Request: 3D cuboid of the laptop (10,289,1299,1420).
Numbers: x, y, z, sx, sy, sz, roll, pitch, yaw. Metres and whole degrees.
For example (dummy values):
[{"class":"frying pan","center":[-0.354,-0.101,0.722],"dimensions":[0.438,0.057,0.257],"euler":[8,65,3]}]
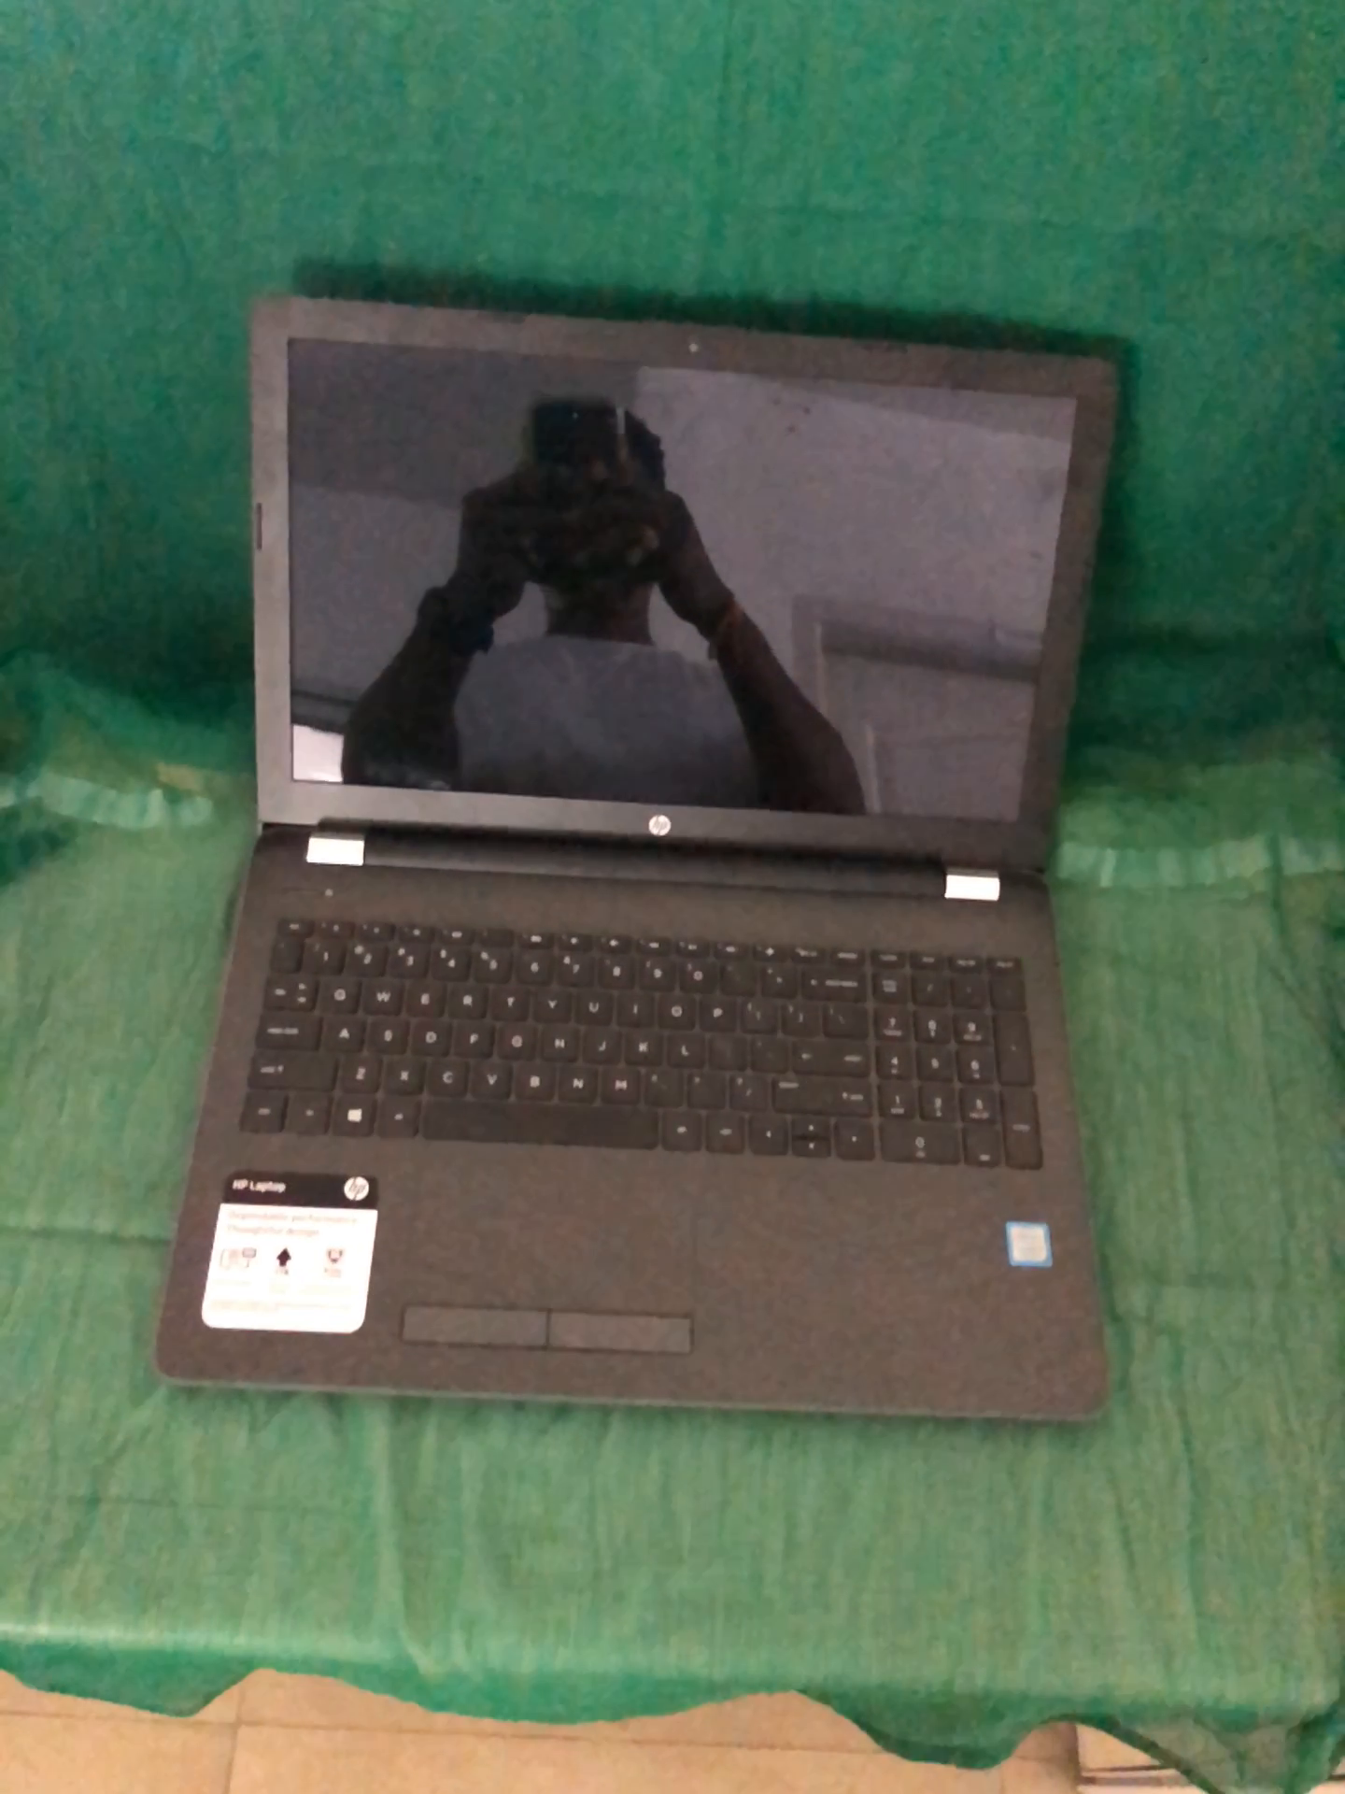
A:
[{"class":"laptop","center":[0.000,-0.025,0.613],"dimensions":[0.378,0.179,0.416],"euler":[3,60,-2]}]
